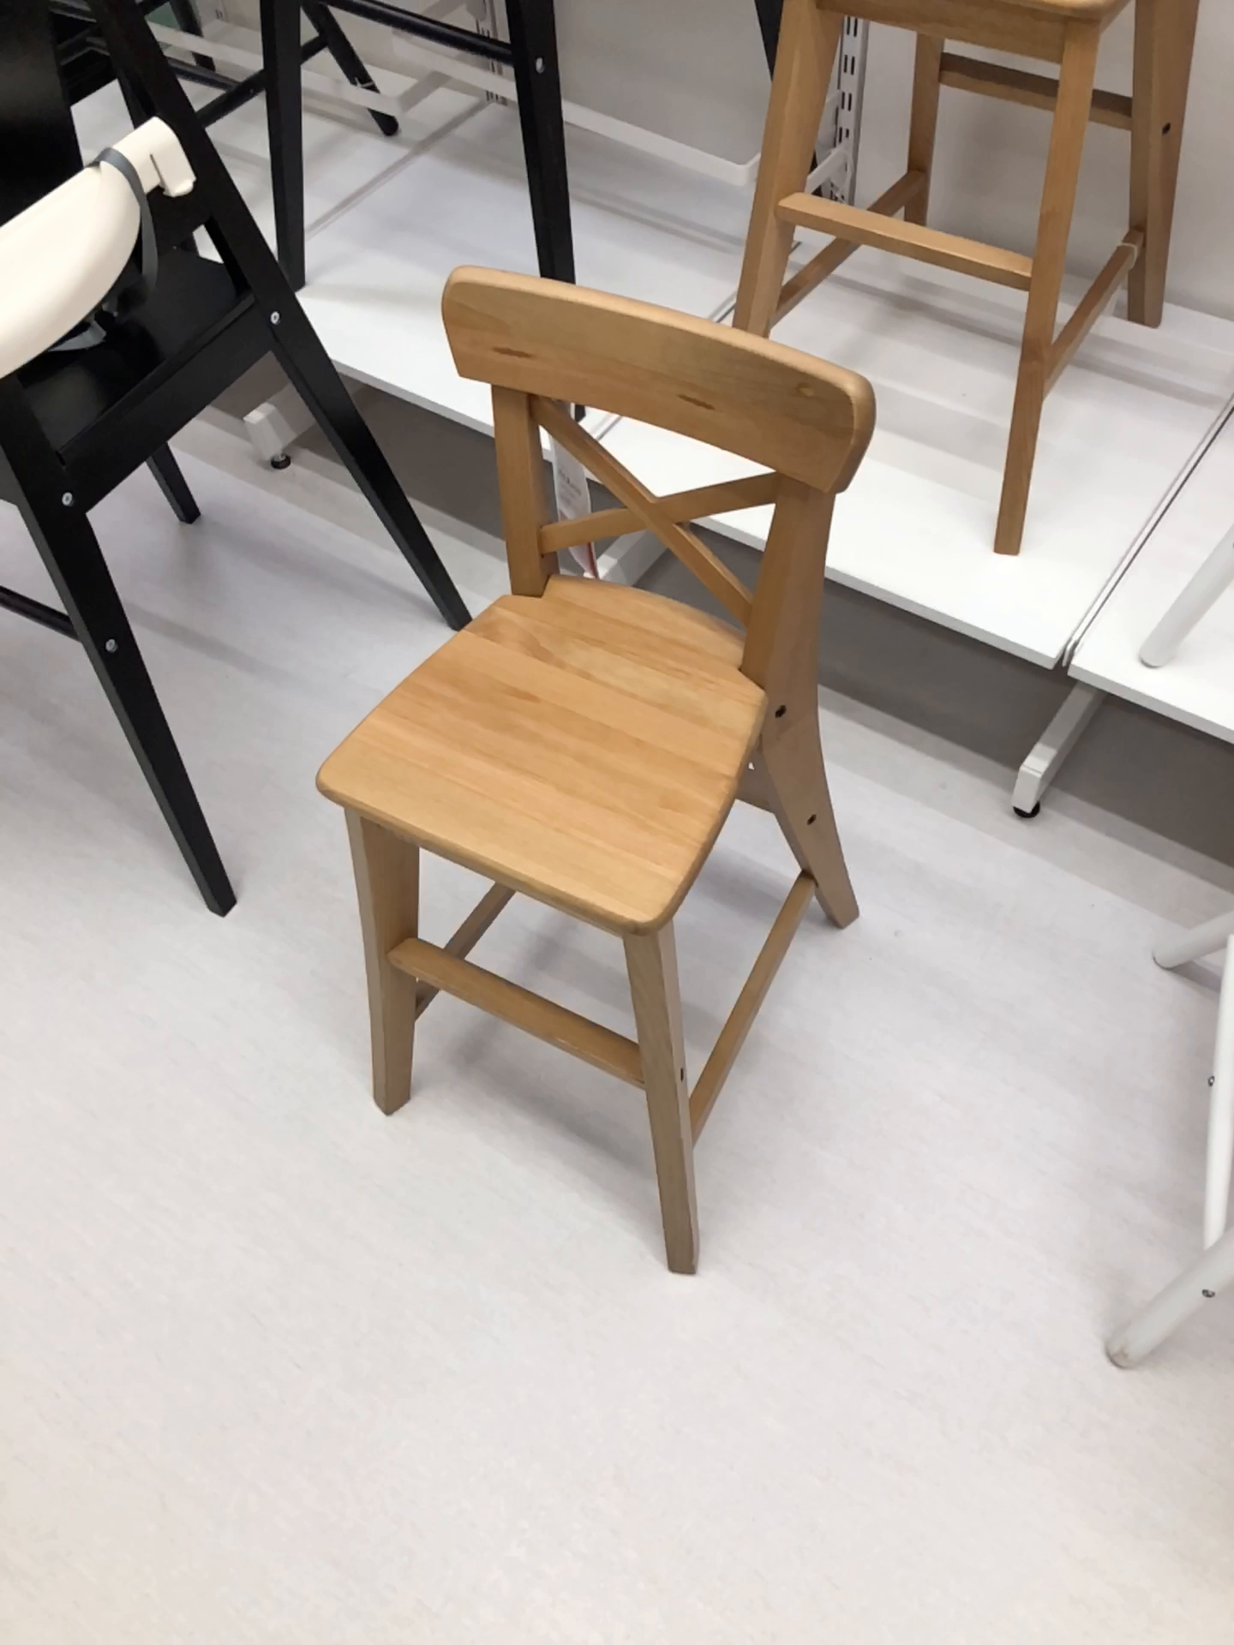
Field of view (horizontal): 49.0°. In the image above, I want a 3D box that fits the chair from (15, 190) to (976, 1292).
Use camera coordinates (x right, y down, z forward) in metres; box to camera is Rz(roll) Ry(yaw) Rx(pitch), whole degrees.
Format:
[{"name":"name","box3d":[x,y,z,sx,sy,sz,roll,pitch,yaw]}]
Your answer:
[{"name":"chair","box3d":[-0.034,-0.023,1.064,0.391,0.676,0.432,24,60,21]}]
